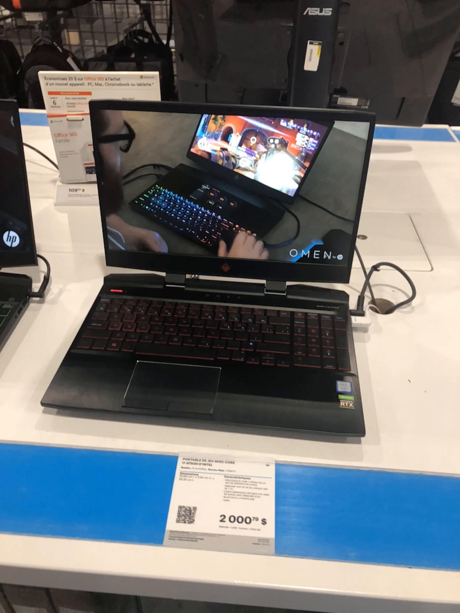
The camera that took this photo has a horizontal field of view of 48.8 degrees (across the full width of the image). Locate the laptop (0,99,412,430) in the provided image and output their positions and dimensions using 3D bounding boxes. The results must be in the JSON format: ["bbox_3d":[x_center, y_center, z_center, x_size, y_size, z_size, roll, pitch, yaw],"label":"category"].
[{"bbox_3d":[-0.017,-0.067,0.601,0.355,0.239,0.294,4,39,4],"label":"laptop"}]
